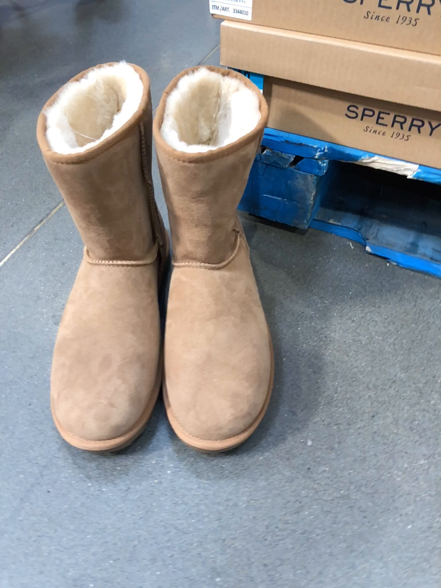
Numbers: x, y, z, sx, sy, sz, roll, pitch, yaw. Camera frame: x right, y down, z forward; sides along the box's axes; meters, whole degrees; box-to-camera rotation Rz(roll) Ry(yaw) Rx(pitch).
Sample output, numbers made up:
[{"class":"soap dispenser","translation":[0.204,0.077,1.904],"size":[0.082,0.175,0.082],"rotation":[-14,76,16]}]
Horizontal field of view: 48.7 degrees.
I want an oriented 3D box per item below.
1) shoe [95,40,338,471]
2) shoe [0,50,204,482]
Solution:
[{"class":"shoe","translation":[0.001,-0.035,0.460],"size":[0.130,0.259,0.311],"rotation":[-1,50,1]},{"class":"shoe","translation":[-0.099,-0.028,0.460],"size":[0.130,0.259,0.311],"rotation":[1,51,3]}]
